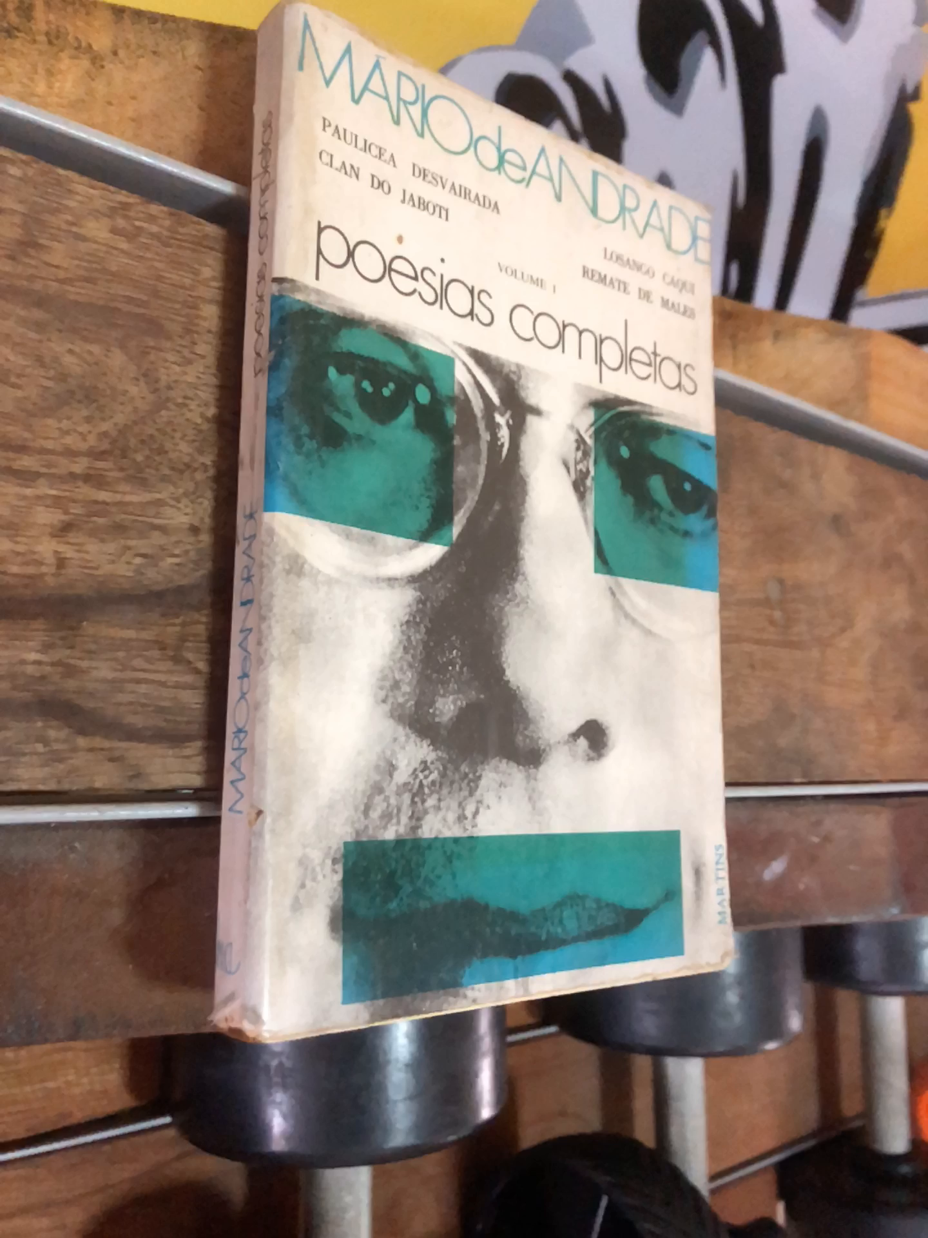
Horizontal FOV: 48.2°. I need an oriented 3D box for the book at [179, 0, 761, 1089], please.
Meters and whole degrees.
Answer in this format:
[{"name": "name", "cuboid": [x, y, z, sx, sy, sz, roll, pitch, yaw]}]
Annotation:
[{"name": "book", "cuboid": [0.014, -0.021, 0.231, 0.141, 0.020, 0.209, 8, 79, -39]}]
